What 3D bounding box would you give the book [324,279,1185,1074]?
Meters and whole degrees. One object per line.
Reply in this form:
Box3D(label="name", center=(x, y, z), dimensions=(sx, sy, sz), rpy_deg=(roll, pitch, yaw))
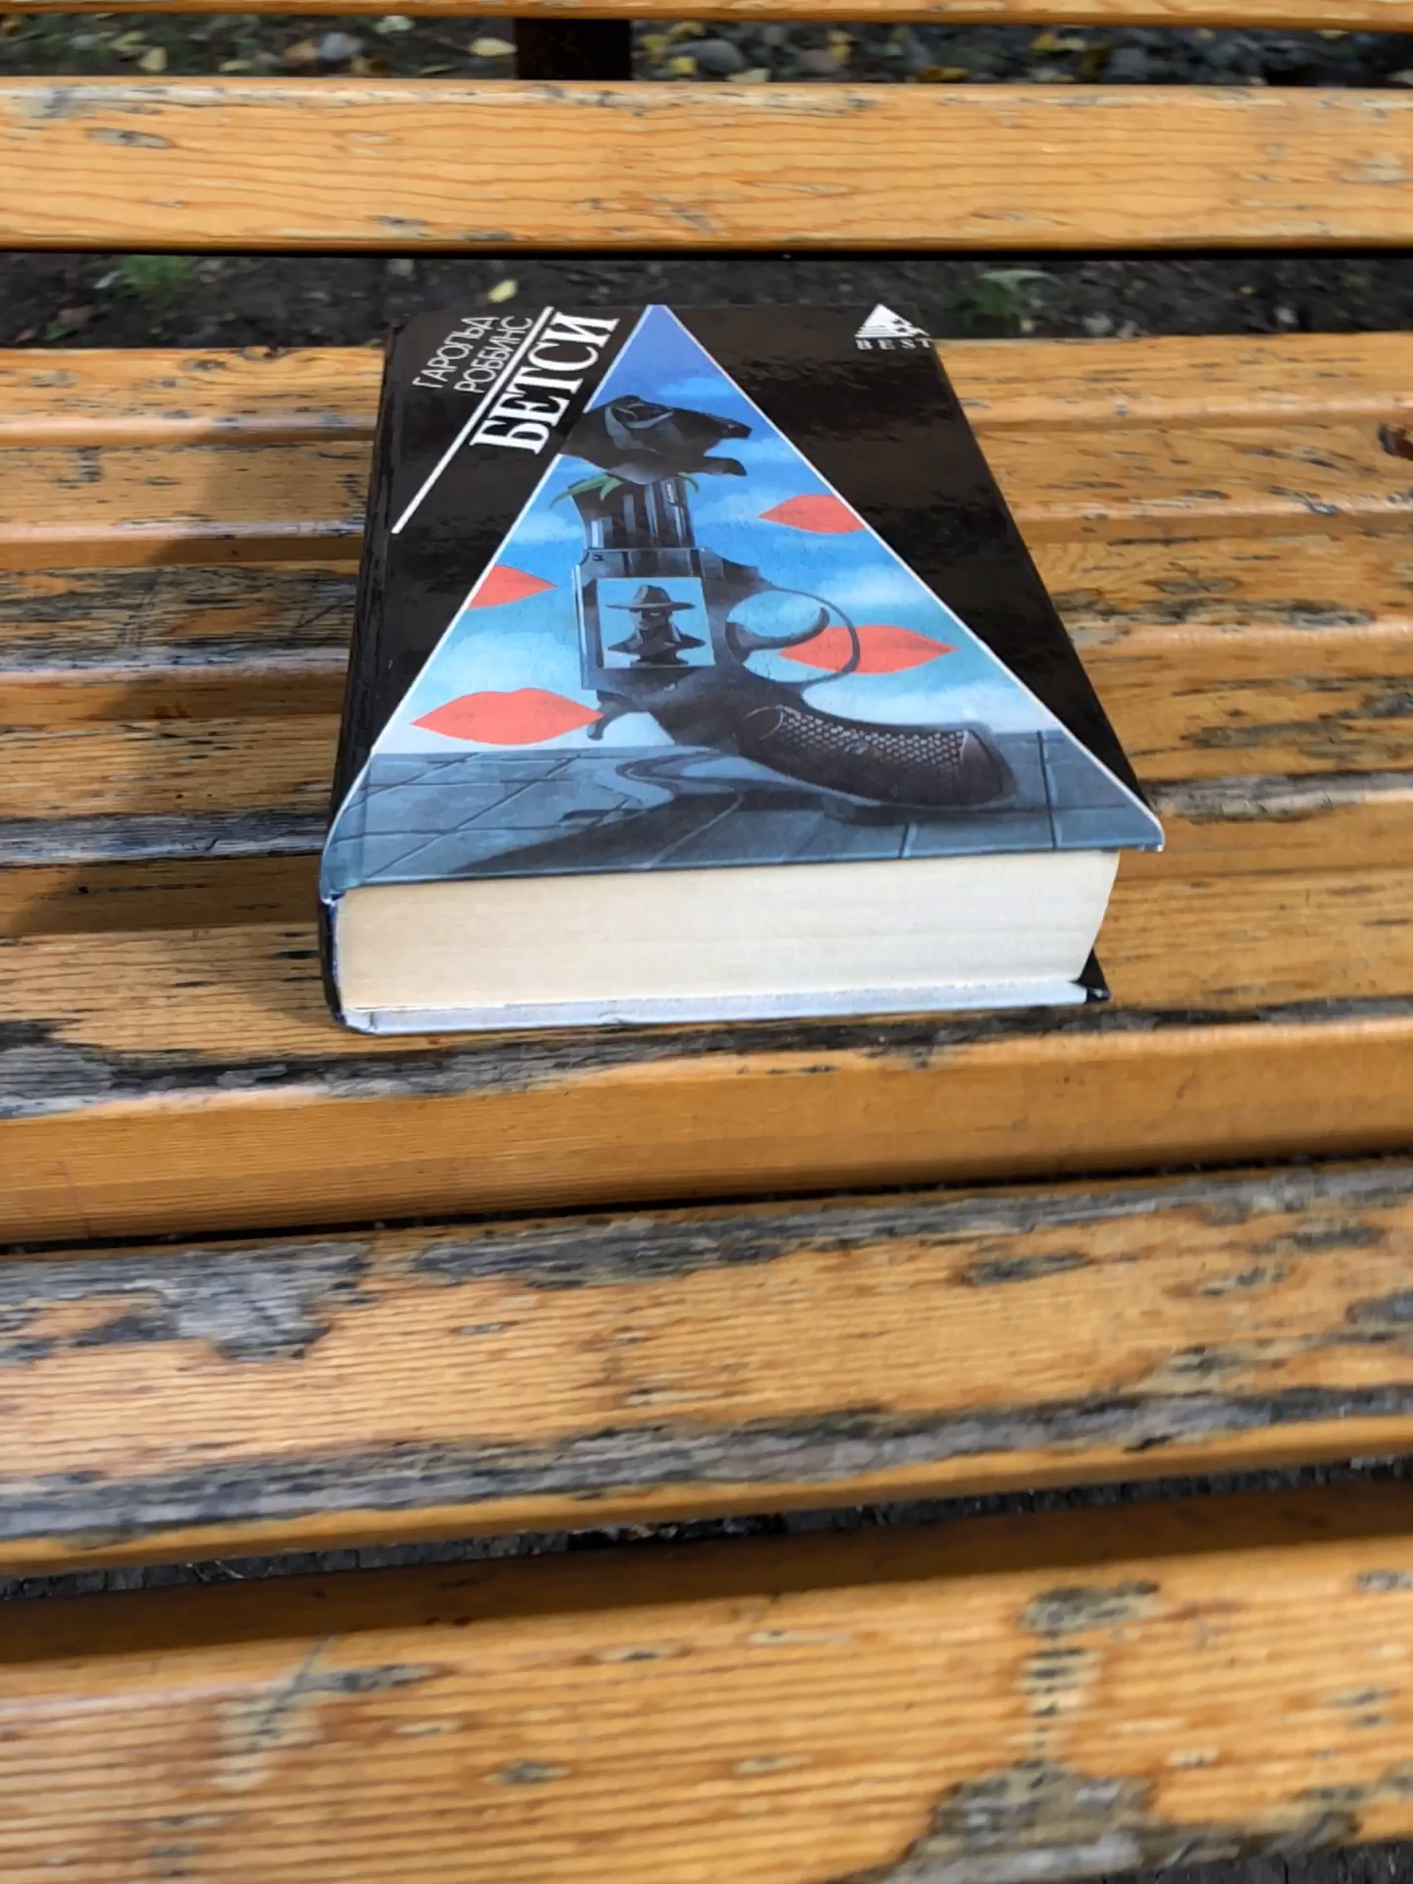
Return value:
Box3D(label="book", center=(-0.003, -0.071, 0.324), dimensions=(0.130, 0.045, 0.211), rpy_deg=(-2, 45, -6))
